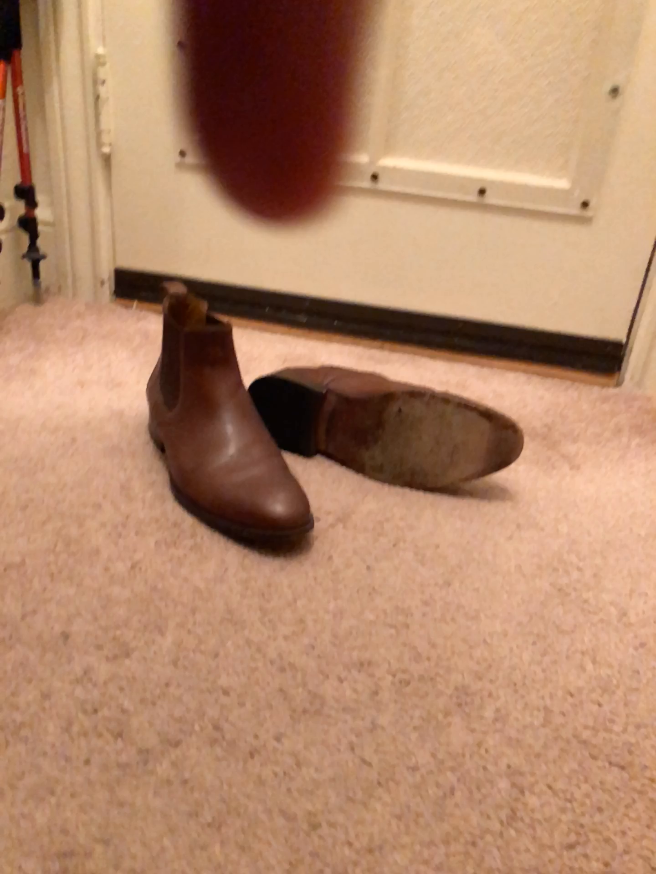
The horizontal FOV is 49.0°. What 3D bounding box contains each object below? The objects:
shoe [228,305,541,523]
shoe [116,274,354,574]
[{"bbox_3d":[0.065,-0.038,0.798,0.296,0.118,0.170,15,28,15],"label":"shoe"},{"bbox_3d":[-0.105,-0.034,0.685,0.109,0.158,0.297,-10,31,-28],"label":"shoe"}]
